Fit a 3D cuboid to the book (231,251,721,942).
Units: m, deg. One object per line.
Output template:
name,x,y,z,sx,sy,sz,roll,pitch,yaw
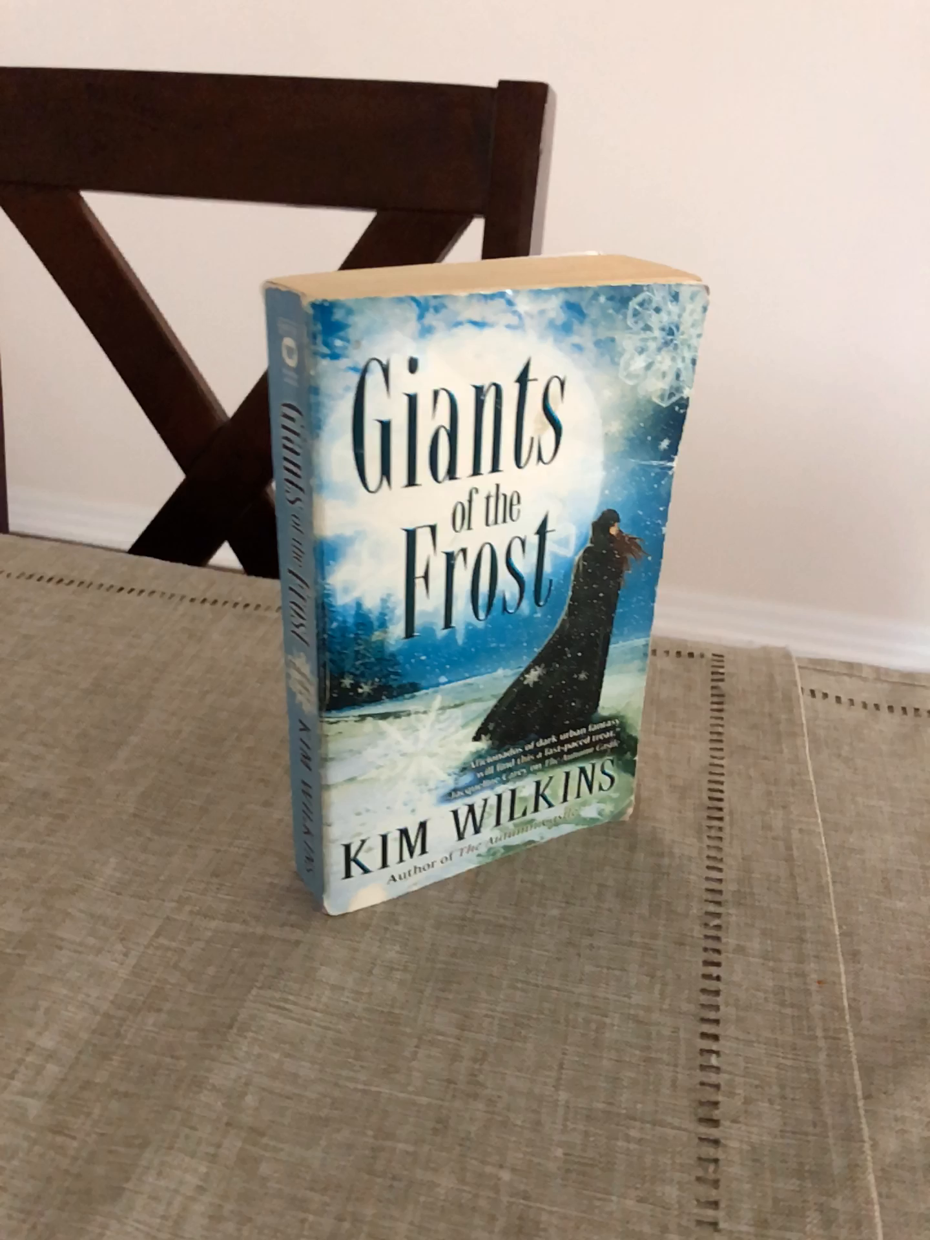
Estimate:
book,0.002,-0.008,0.286,0.111,0.168,0.043,-14,31,-28
